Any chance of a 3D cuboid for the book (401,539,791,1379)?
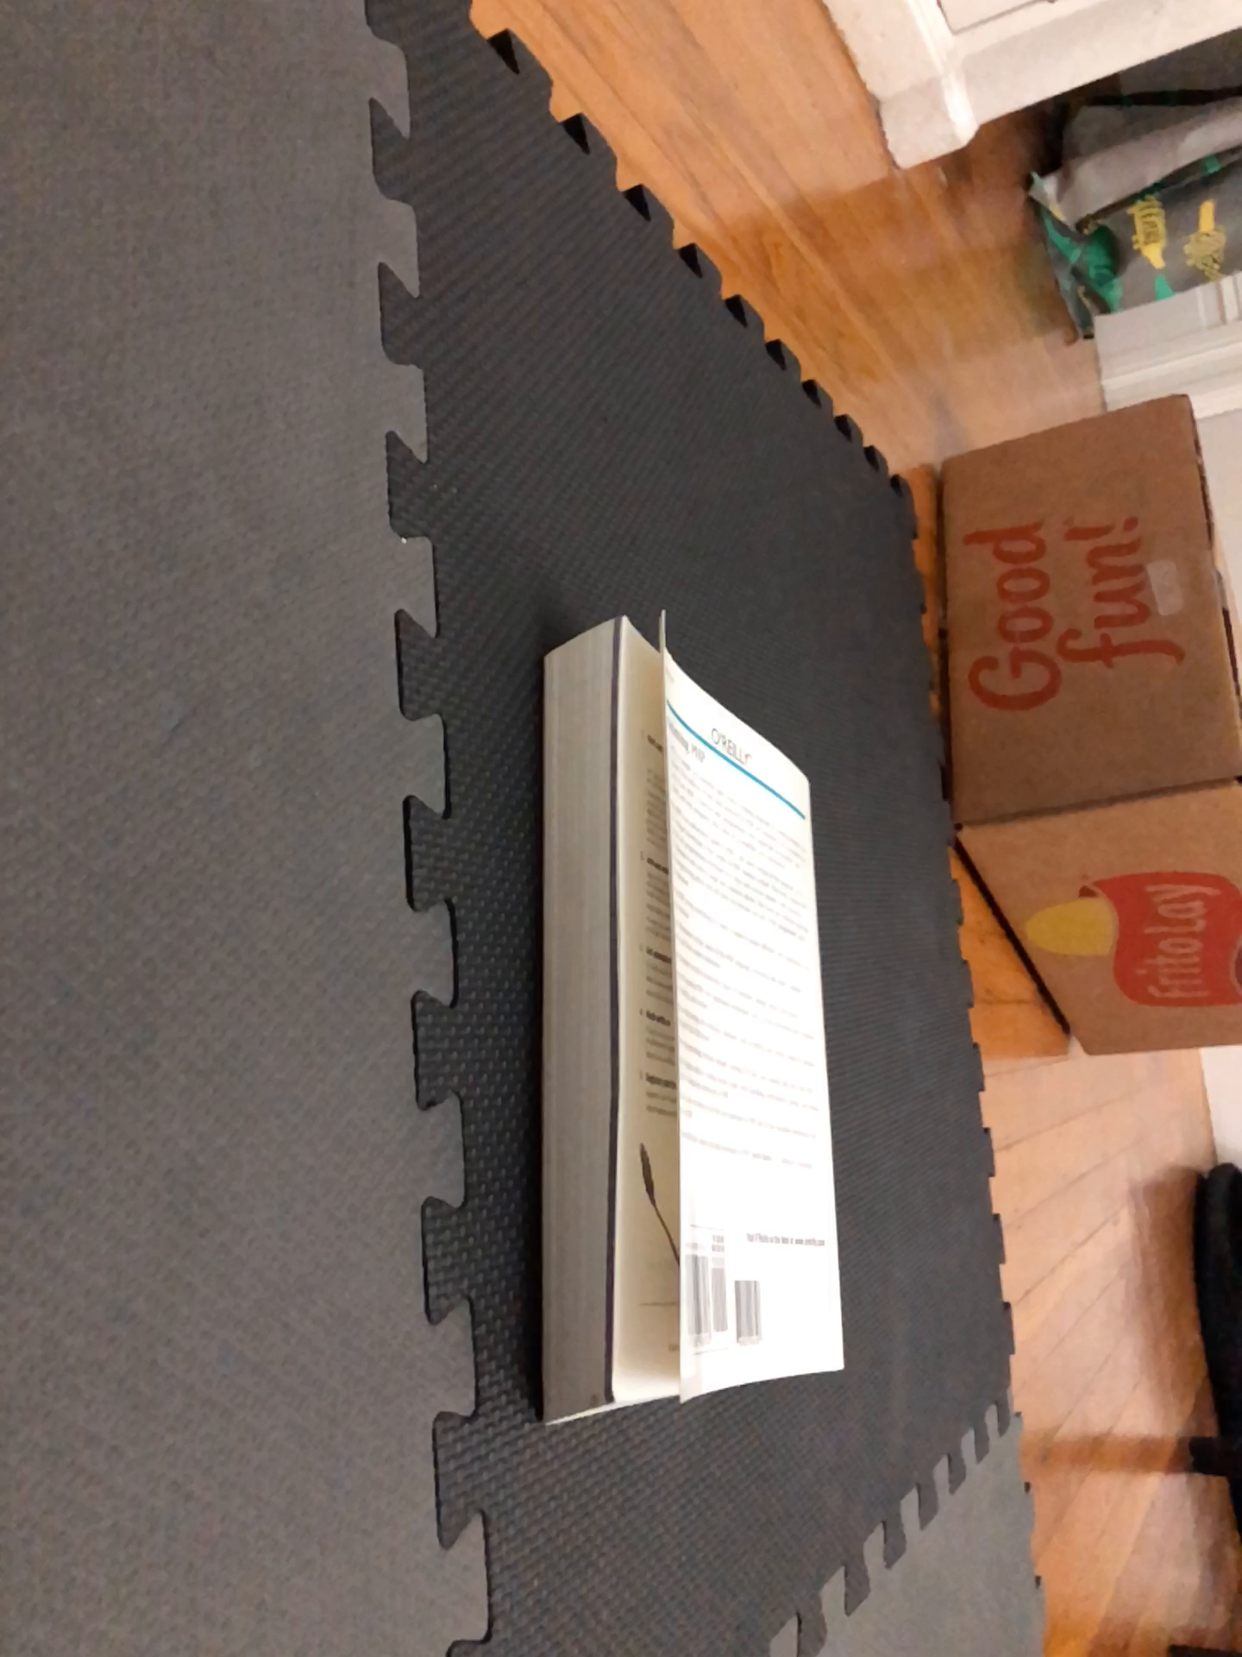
[{"bbox_3d":[0.005,0.066,0.568,0.231,0.040,0.290,31,55,-56],"label":"book"}]
